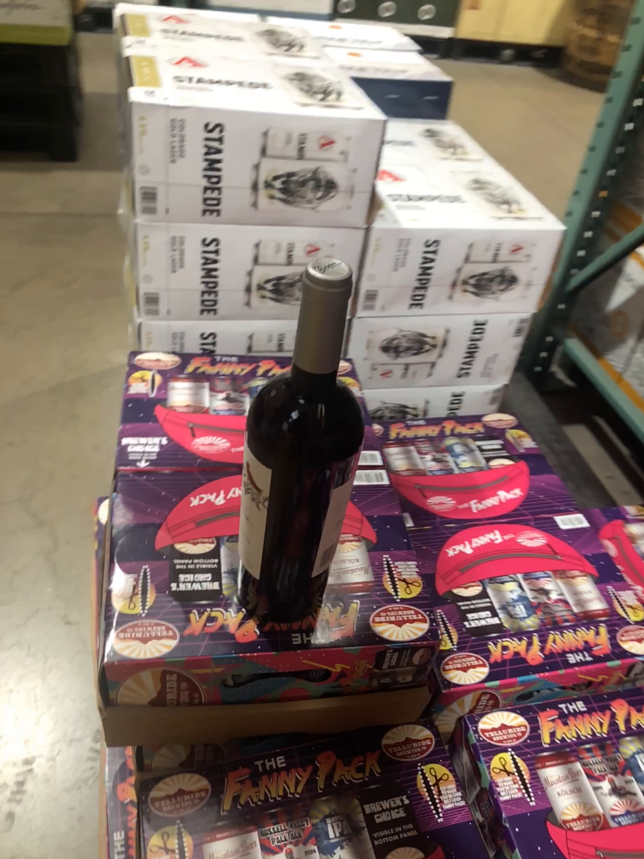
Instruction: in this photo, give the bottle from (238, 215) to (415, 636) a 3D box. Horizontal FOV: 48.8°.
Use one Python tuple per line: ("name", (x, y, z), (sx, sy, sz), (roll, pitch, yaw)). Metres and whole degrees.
("bottle", (-0.005, 0.016, 0.492), (0.080, 0.298, 0.080), (5, 40, -4))
